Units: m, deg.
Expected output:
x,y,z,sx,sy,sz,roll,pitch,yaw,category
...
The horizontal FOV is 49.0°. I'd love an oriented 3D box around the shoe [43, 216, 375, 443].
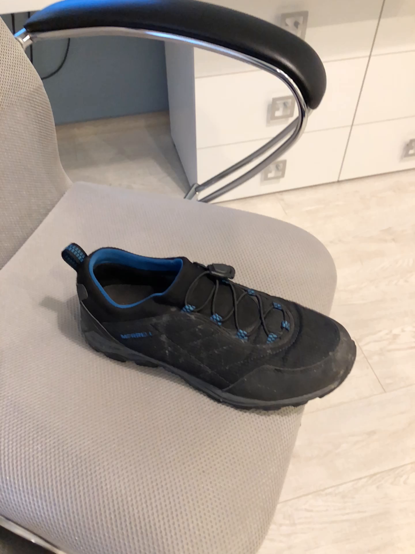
x,y,z,sx,sy,sz,roll,pitch,yaw,category
0.005,0.049,0.487,0.300,0.109,0.129,14,50,12,shoe
